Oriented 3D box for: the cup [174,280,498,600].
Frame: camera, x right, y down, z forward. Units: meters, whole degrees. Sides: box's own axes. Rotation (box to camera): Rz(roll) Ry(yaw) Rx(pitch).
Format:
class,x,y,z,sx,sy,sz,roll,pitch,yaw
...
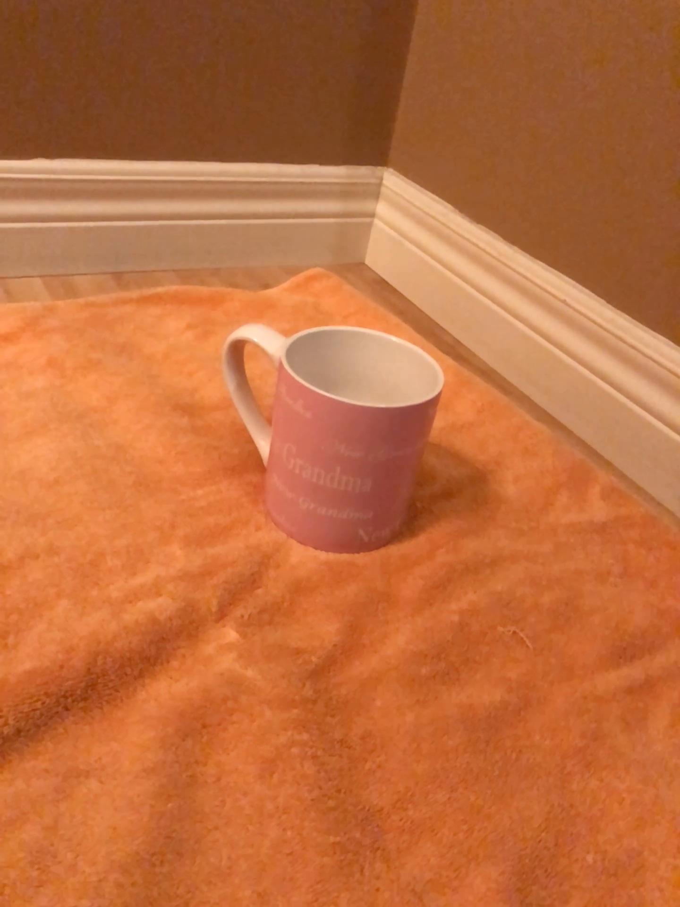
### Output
class,x,y,z,sx,sy,sz,roll,pitch,yaw
cup,-0.008,-0.017,0.449,0.140,0.109,0.110,32,38,28
